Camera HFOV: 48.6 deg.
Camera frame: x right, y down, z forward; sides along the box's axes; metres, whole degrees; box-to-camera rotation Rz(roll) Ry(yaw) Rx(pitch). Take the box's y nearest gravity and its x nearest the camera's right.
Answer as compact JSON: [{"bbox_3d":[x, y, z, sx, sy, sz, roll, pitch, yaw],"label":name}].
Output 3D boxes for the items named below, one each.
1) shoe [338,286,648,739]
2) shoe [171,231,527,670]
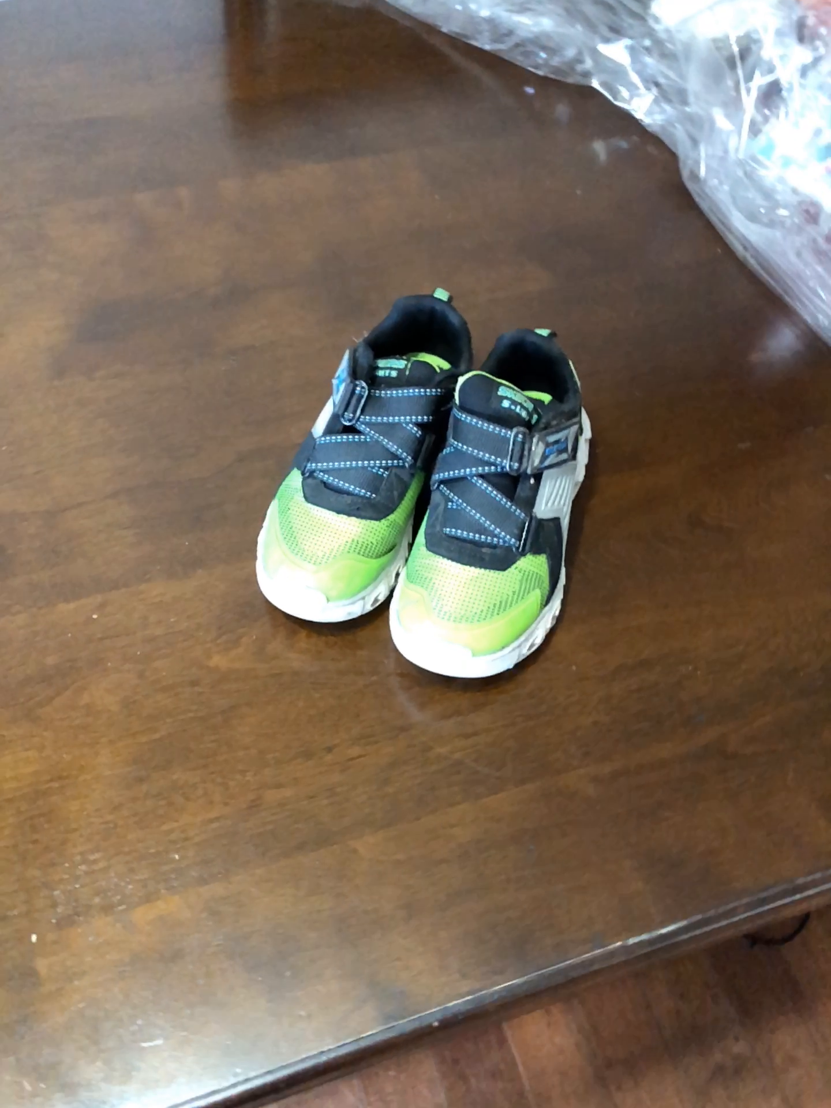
[{"bbox_3d":[0.045,-0.029,0.497,0.100,0.100,0.210,16,56,9],"label":"shoe"},{"bbox_3d":[-0.026,-0.064,0.507,0.100,0.100,0.210,20,56,11],"label":"shoe"}]
